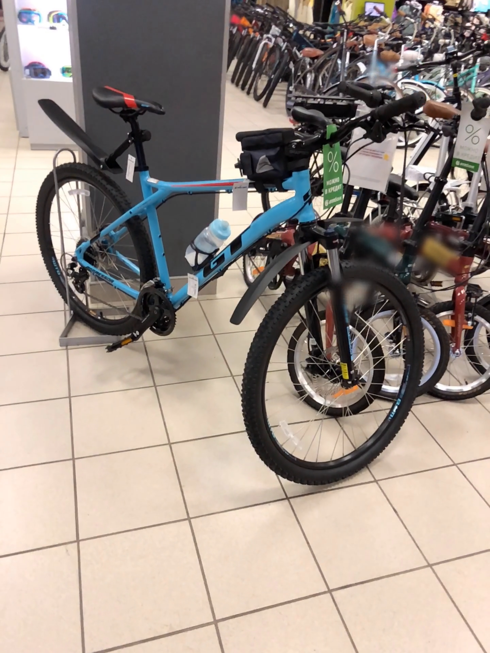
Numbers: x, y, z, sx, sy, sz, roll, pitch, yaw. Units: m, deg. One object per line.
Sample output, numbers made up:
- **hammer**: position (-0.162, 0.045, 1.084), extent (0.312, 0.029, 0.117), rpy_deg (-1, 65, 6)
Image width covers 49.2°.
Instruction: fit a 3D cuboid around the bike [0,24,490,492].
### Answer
- **bike**: position (-0.142, -0.334, 1.906), extent (1.611, 1.084, 0.695), rpy_deg (19, 33, 19)
